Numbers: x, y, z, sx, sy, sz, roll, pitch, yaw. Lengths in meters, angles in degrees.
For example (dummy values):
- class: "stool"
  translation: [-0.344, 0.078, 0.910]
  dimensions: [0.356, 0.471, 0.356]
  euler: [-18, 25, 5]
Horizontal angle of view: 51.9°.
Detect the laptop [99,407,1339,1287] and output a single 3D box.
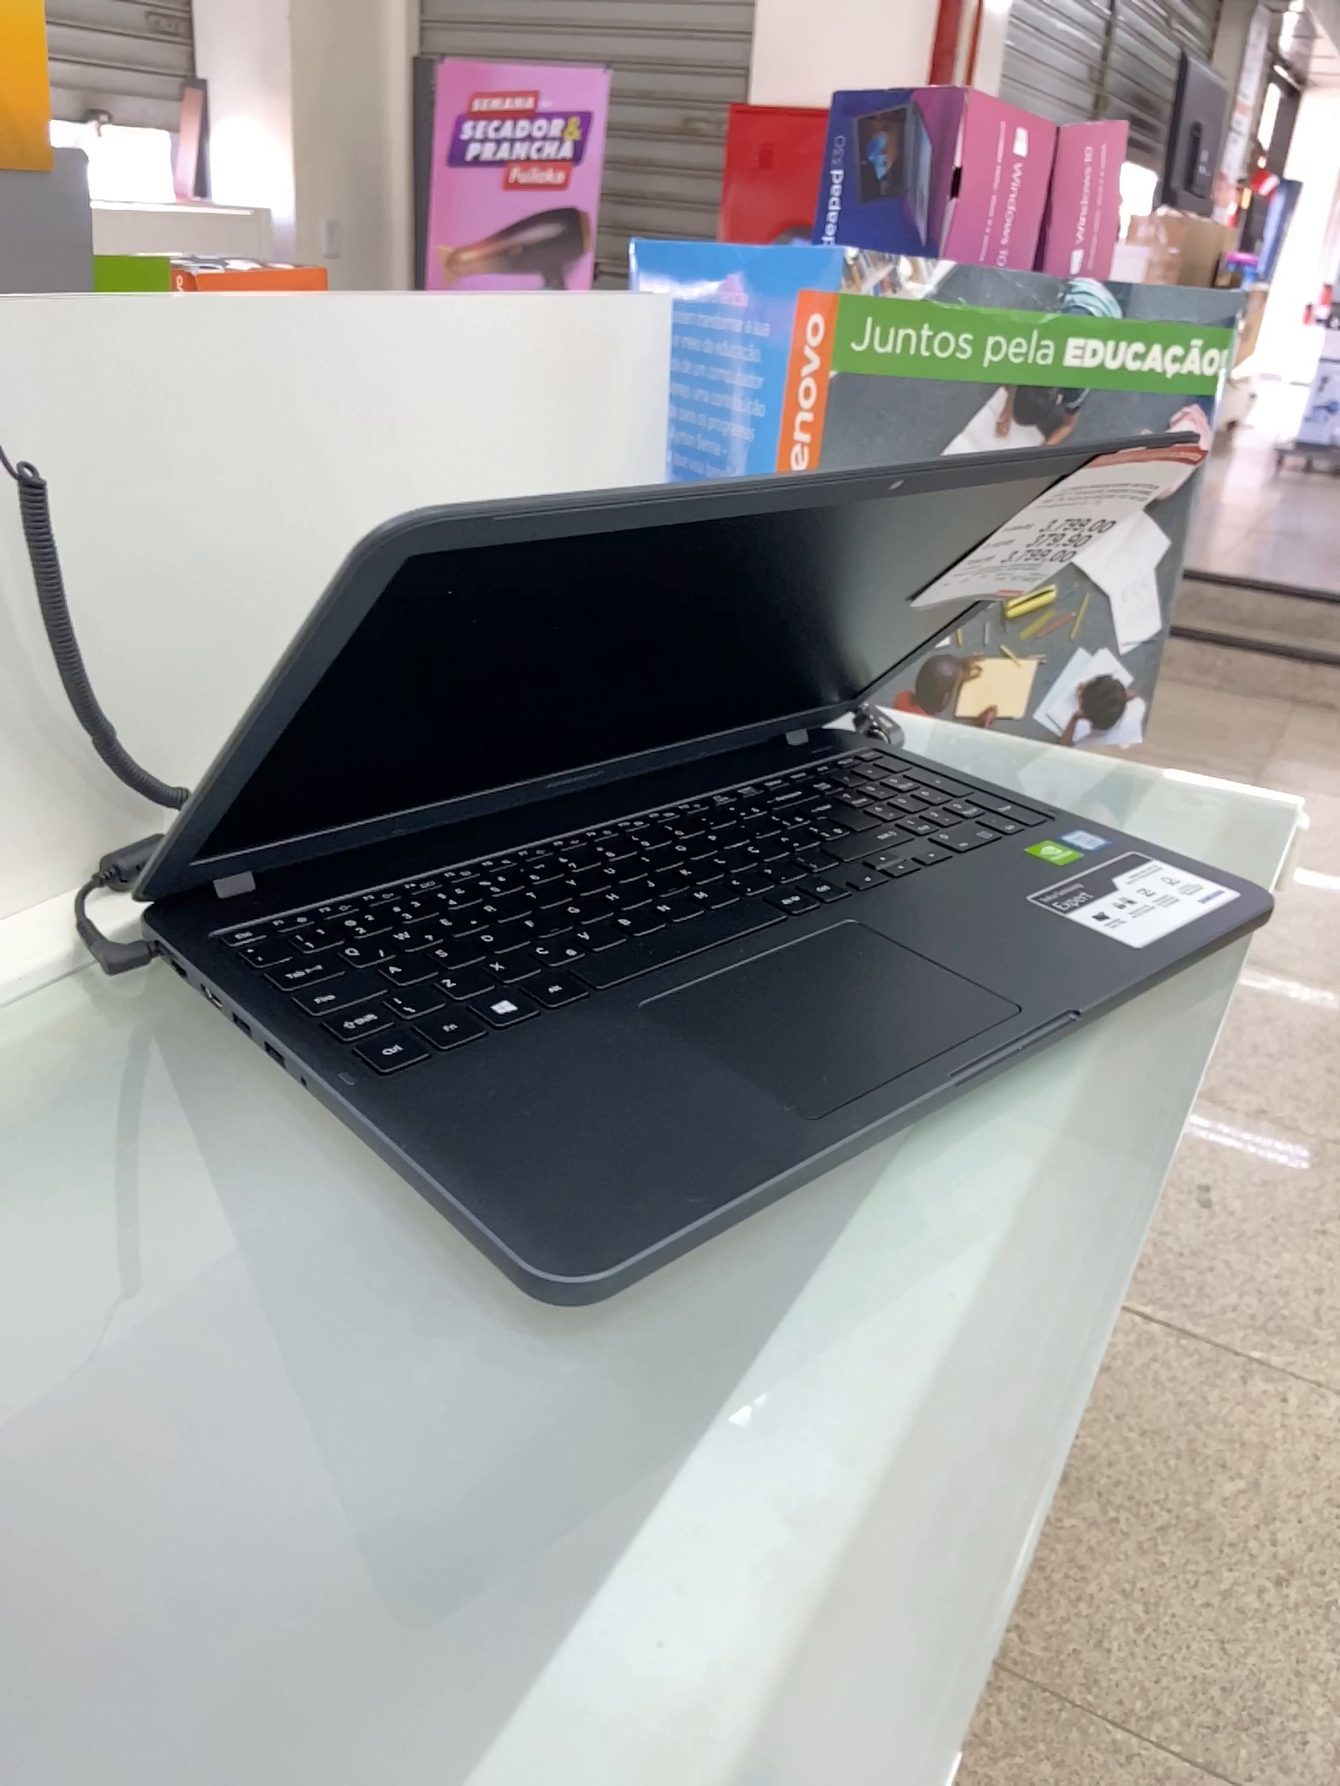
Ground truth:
- class: "laptop"
  translation: [0.034, -0.066, 0.479]
  dimensions: [0.359, 0.158, 0.231]
  euler: [-19, 34, -40]
